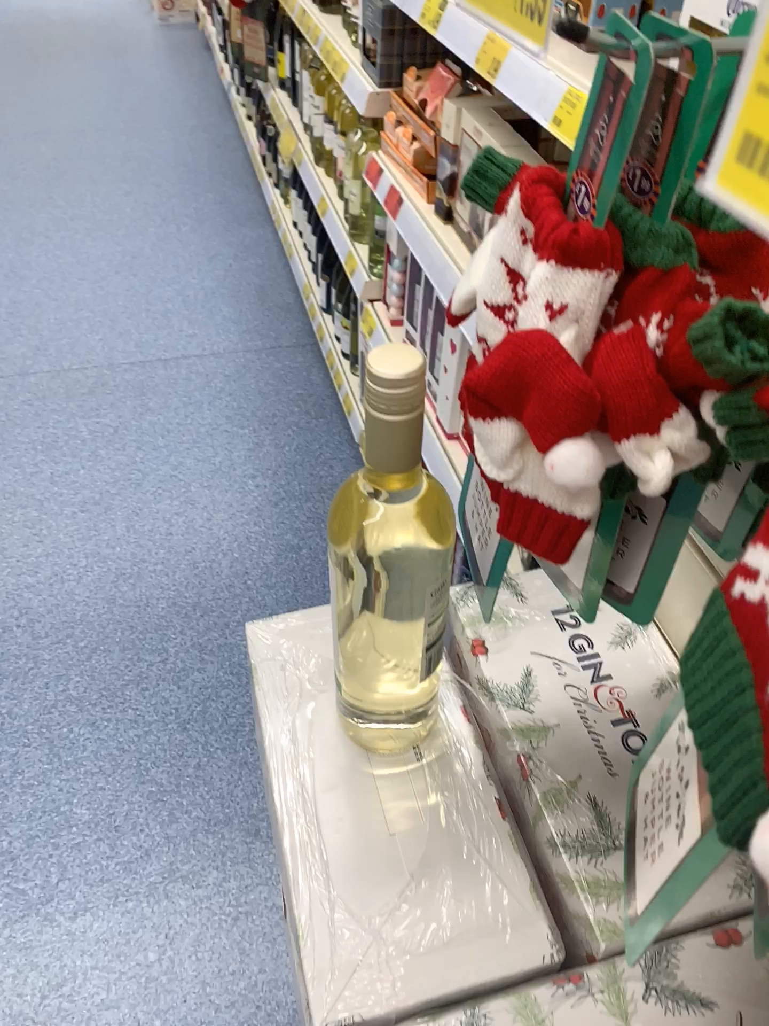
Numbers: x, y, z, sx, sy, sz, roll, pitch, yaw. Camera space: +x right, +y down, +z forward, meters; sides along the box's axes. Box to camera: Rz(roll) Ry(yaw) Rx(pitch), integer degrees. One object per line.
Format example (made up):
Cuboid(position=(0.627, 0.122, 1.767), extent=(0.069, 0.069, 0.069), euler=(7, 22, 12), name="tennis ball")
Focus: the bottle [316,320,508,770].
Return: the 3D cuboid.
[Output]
Cuboid(position=(0.010, 0.037, 0.466), extent=(0.073, 0.285, 0.073), euler=(2, 43, -2), name="bottle")
